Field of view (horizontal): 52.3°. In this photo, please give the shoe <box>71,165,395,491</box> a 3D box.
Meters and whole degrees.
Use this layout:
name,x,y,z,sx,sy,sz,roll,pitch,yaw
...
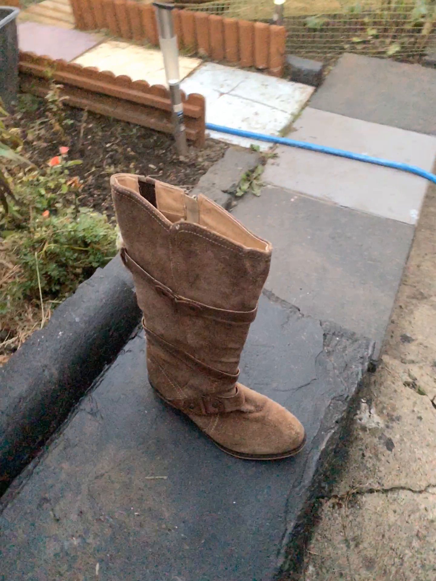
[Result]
name,x,y,z,sx,sy,sz,roll,pitch,yaw
shoe,0.009,0.073,0.537,0.271,0.376,0.101,22,53,17
